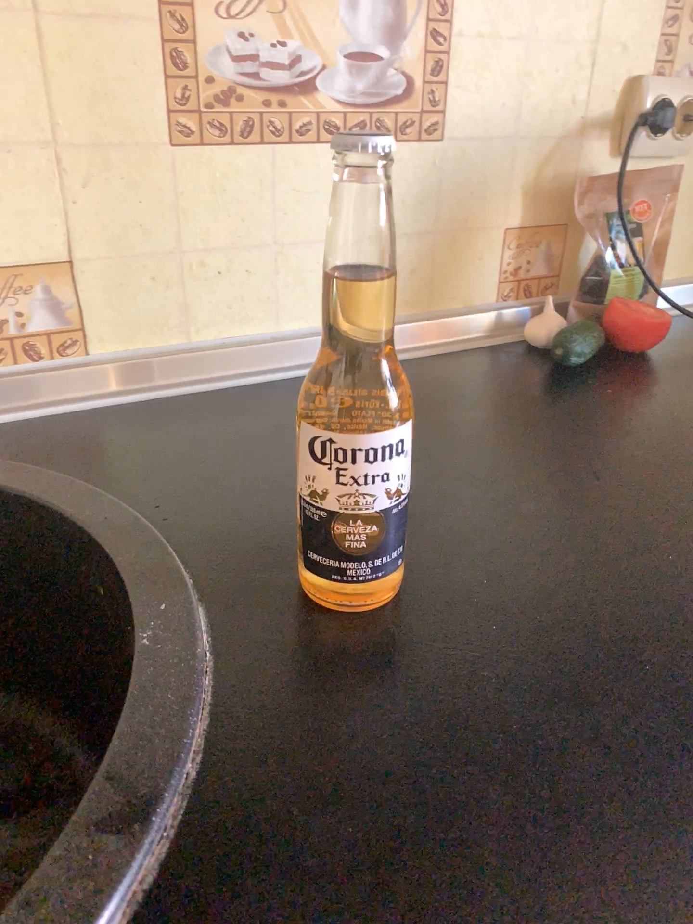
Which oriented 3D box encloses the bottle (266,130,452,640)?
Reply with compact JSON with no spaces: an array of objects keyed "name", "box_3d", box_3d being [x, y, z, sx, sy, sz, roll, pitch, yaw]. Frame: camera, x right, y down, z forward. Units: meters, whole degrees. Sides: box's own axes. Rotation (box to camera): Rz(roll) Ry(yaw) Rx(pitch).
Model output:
[{"name":"bottle","box_3d":[-0.001,-0.031,0.367,0.070,0.249,0.070,1,28,-1]}]
